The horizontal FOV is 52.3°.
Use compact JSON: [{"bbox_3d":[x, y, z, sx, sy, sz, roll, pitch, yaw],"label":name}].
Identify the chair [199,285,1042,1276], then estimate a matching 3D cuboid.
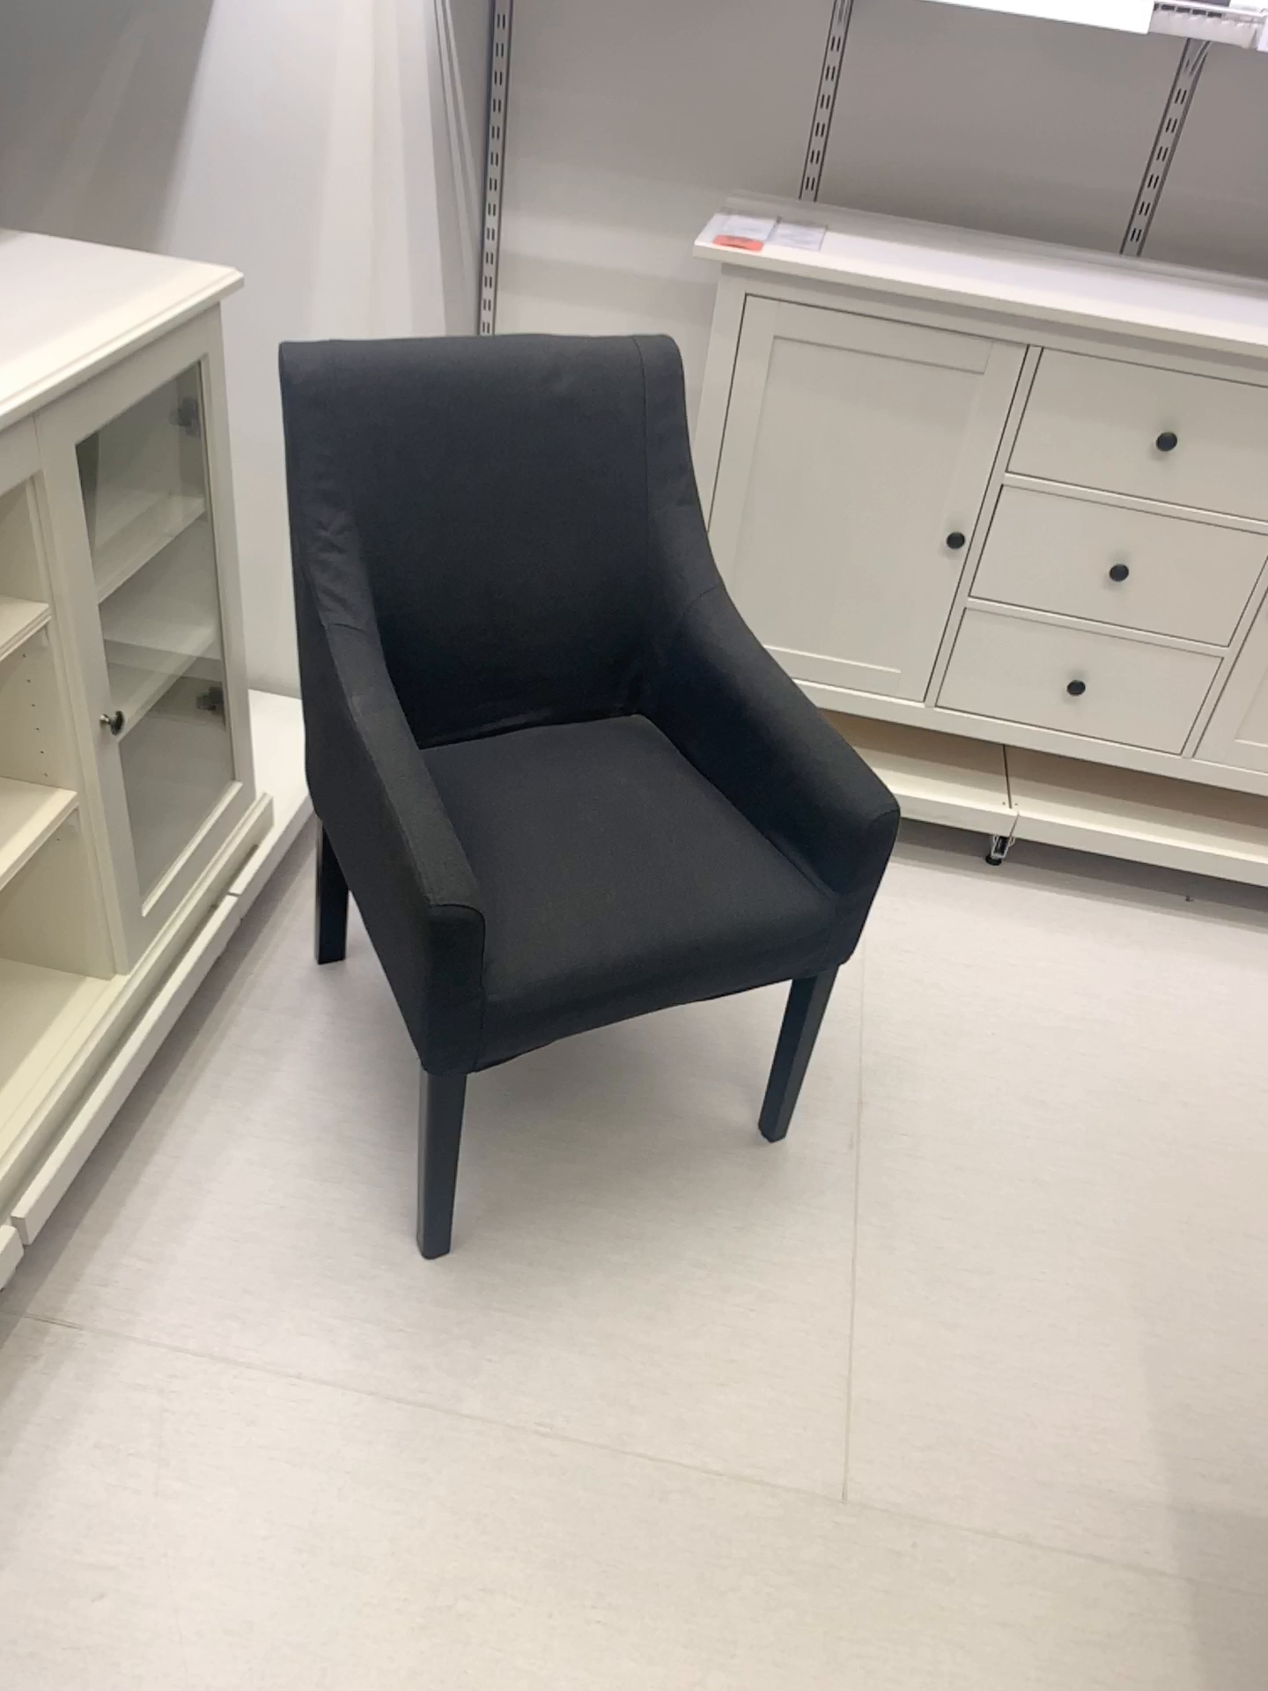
[{"bbox_3d":[-0.093,-0.106,1.595,0.661,0.946,0.612,-12,41,-25],"label":"chair"}]
